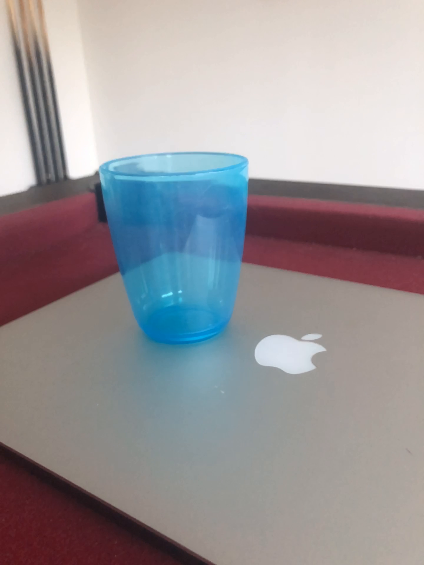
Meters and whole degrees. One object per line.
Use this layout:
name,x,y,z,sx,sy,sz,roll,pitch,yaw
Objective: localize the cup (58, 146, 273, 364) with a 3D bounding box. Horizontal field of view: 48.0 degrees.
cup,-0.022,-0.025,0.286,0.090,0.100,0.080,12,26,33
